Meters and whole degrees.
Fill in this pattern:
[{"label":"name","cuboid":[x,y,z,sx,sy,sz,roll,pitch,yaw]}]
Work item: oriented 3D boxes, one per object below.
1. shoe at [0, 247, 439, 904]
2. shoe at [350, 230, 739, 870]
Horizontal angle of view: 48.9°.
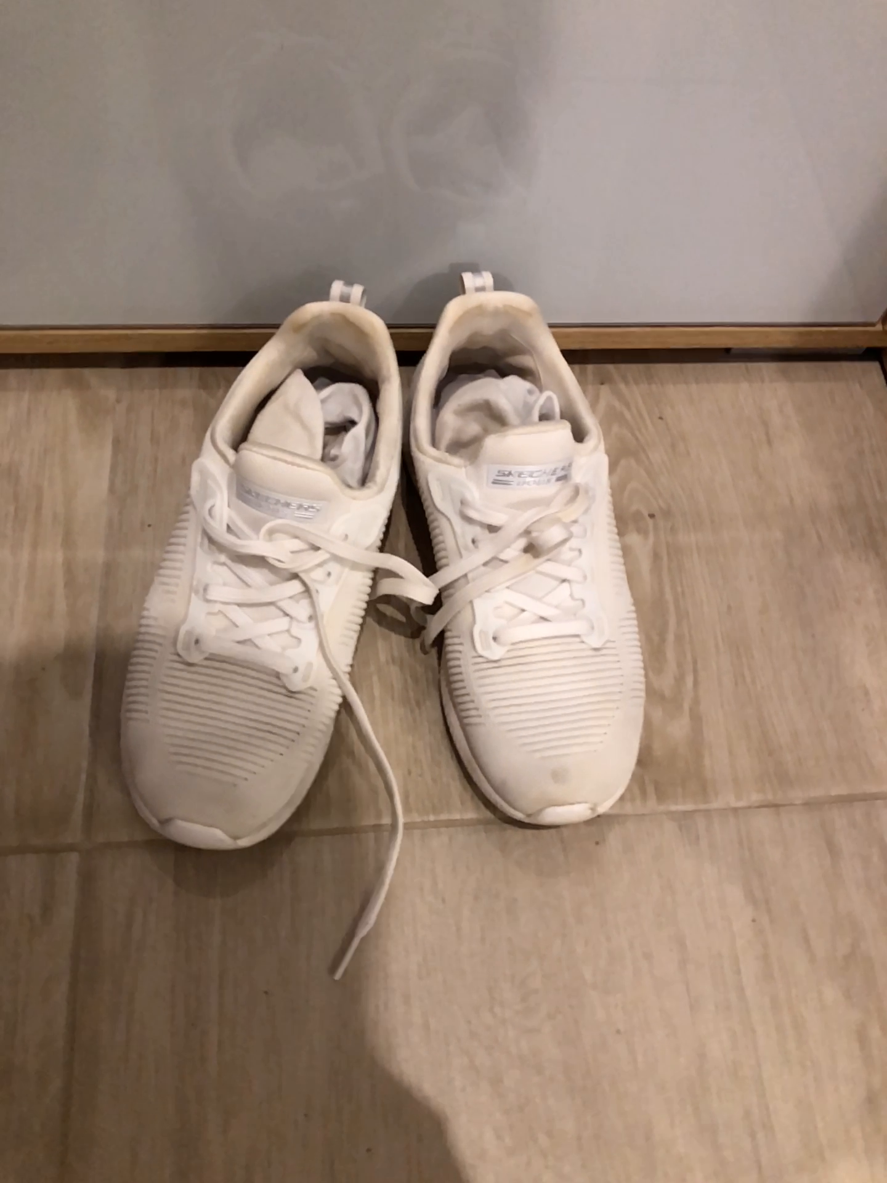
[{"label":"shoe","cuboid":[-0.088,-0.012,0.457,0.110,0.110,0.271,13,64,1]},{"label":"shoe","cuboid":[0.030,-0.026,0.472,0.110,0.110,0.281,-7,65,-9]}]
